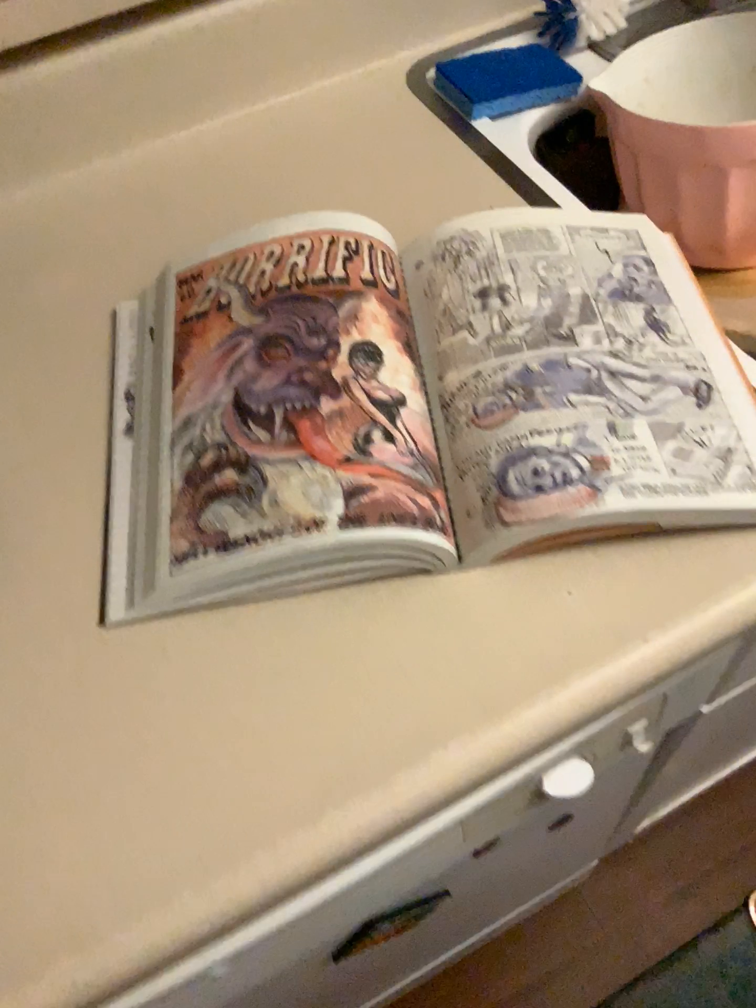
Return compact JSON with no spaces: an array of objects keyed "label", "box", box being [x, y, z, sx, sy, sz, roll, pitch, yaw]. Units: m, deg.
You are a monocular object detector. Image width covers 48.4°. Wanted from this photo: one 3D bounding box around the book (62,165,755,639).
[{"label":"book","box":[0.032,-0.083,0.540,0.430,0.050,0.280,-8,56,-1]}]
